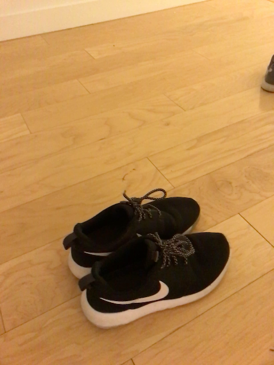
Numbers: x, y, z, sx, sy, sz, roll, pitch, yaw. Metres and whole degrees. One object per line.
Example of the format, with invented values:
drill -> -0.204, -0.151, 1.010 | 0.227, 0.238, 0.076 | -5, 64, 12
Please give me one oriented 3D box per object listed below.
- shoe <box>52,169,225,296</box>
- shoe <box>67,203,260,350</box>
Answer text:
shoe -> 0.001, 0.080, 0.541 | 0.270, 0.070, 0.131 | -18, 47, -15
shoe -> 0.040, 0.140, 0.482 | 0.270, 0.070, 0.121 | -18, 47, -15
